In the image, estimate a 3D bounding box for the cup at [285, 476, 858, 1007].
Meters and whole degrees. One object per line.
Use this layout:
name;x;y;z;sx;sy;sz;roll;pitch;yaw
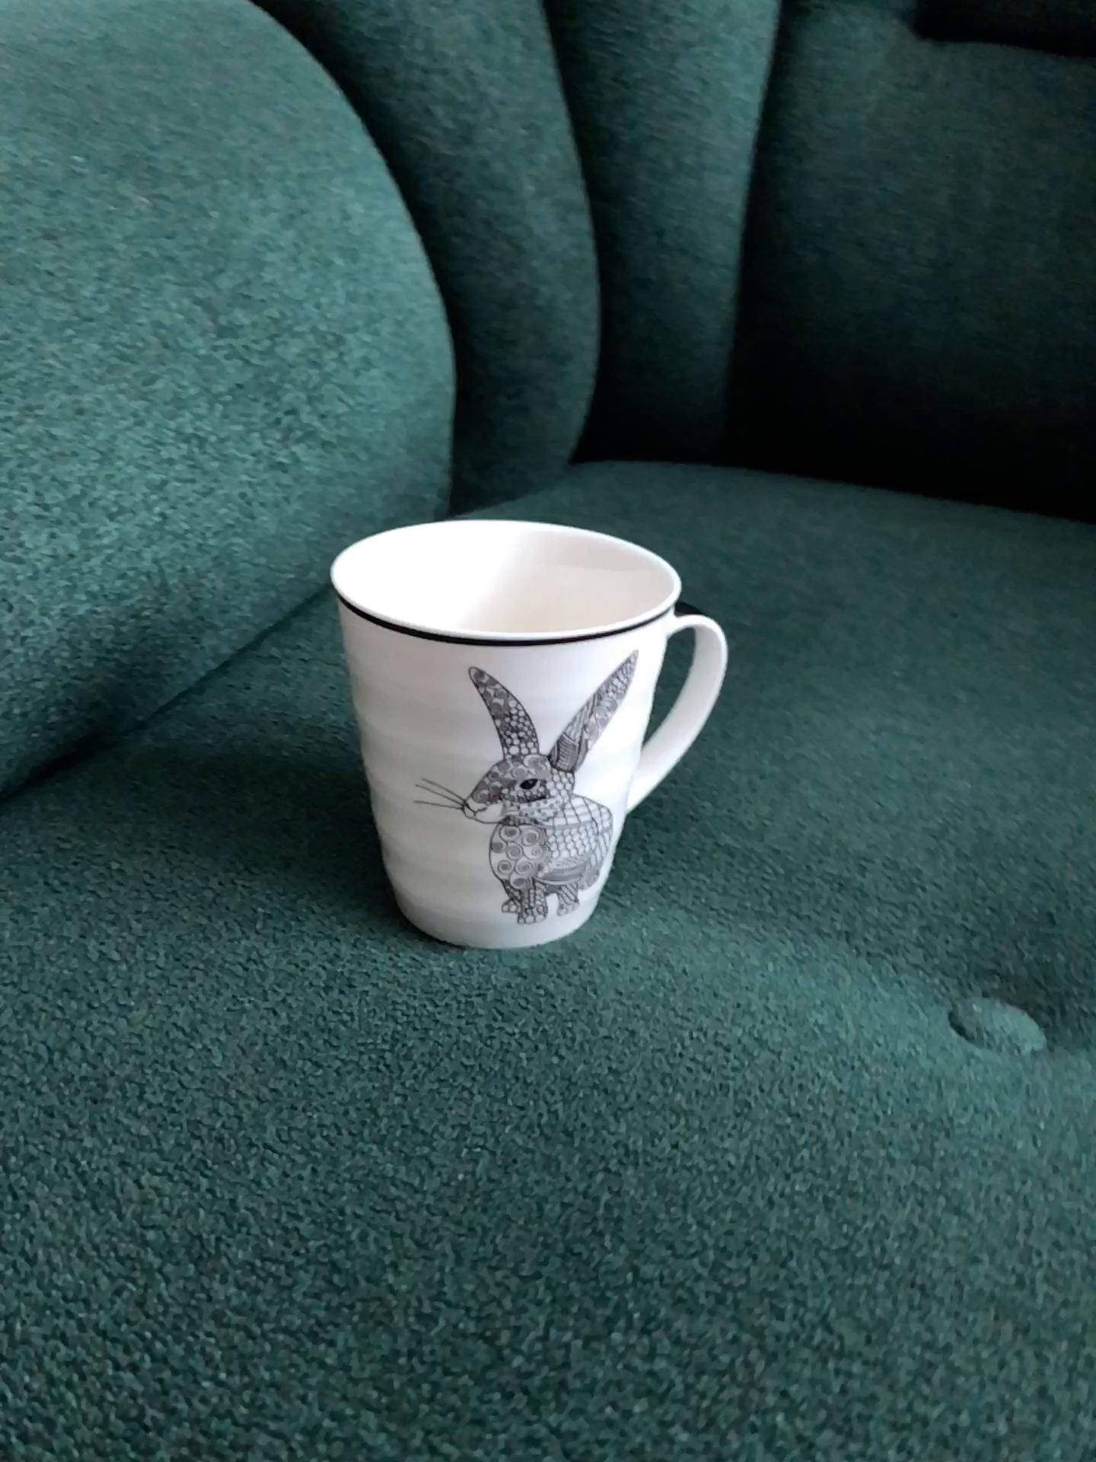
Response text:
cup;0.002;-0.006;0.343;0.120;0.095;0.096;-13;33;-29
